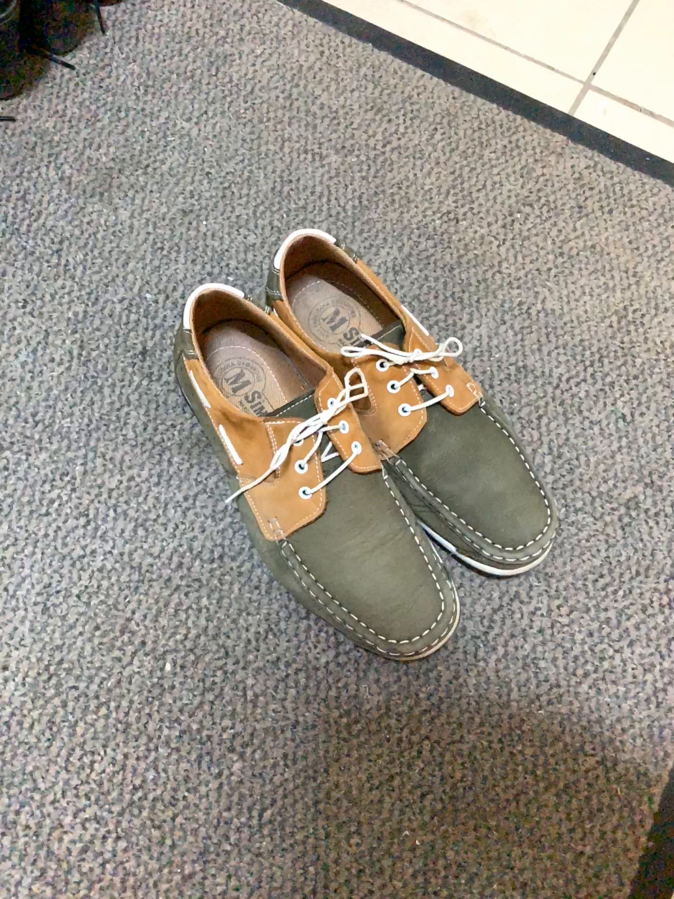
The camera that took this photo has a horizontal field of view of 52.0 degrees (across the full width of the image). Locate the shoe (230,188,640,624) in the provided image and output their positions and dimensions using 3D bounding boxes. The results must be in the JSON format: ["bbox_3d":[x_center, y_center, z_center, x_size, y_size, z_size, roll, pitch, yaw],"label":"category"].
[{"bbox_3d":[0.052,-0.026,0.491,0.107,0.130,0.270,-36,76,-15],"label":"shoe"}]

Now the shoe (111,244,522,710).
[{"bbox_3d":[-0.022,0.023,0.463,0.107,0.130,0.270,-32,75,-14],"label":"shoe"}]
